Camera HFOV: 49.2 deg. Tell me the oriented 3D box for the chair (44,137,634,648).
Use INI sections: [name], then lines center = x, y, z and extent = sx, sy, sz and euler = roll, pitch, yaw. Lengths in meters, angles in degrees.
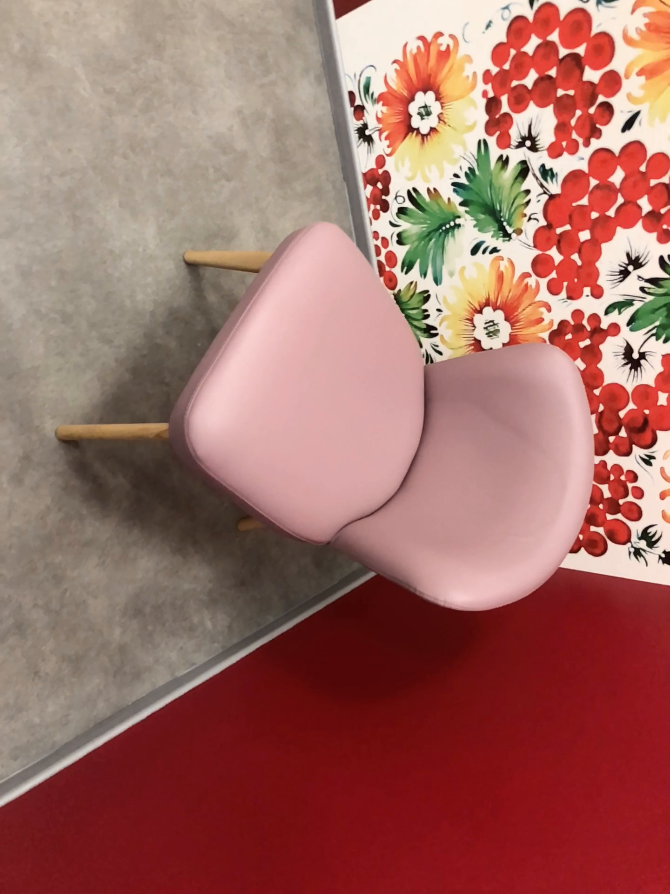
[chair]
center = -0.004, -0.067, 1.338
extent = 0.542, 0.786, 0.511
euler = 44, 62, -36
